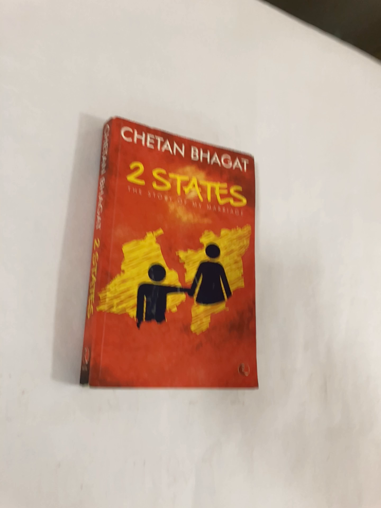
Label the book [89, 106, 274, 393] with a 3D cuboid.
[{"bbox_3d":[-0.001,0.002,0.317,0.123,0.040,0.190,10,73,-27],"label":"book"}]
